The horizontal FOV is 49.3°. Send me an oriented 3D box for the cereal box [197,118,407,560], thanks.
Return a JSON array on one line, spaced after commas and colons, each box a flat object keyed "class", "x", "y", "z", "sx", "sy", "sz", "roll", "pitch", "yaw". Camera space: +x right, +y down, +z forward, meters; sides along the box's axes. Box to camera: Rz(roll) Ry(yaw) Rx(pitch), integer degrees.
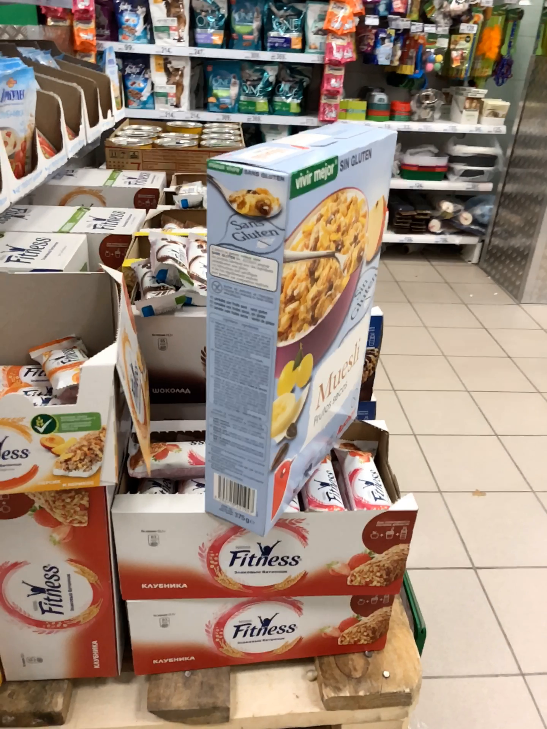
[{"class": "cereal box", "x": 0.024, "y": -0.028, "z": 0.471, "sx": 0.060, "sy": 0.288, "sz": 0.201, "roll": 17, "pitch": 32, "yaw": 23}]
